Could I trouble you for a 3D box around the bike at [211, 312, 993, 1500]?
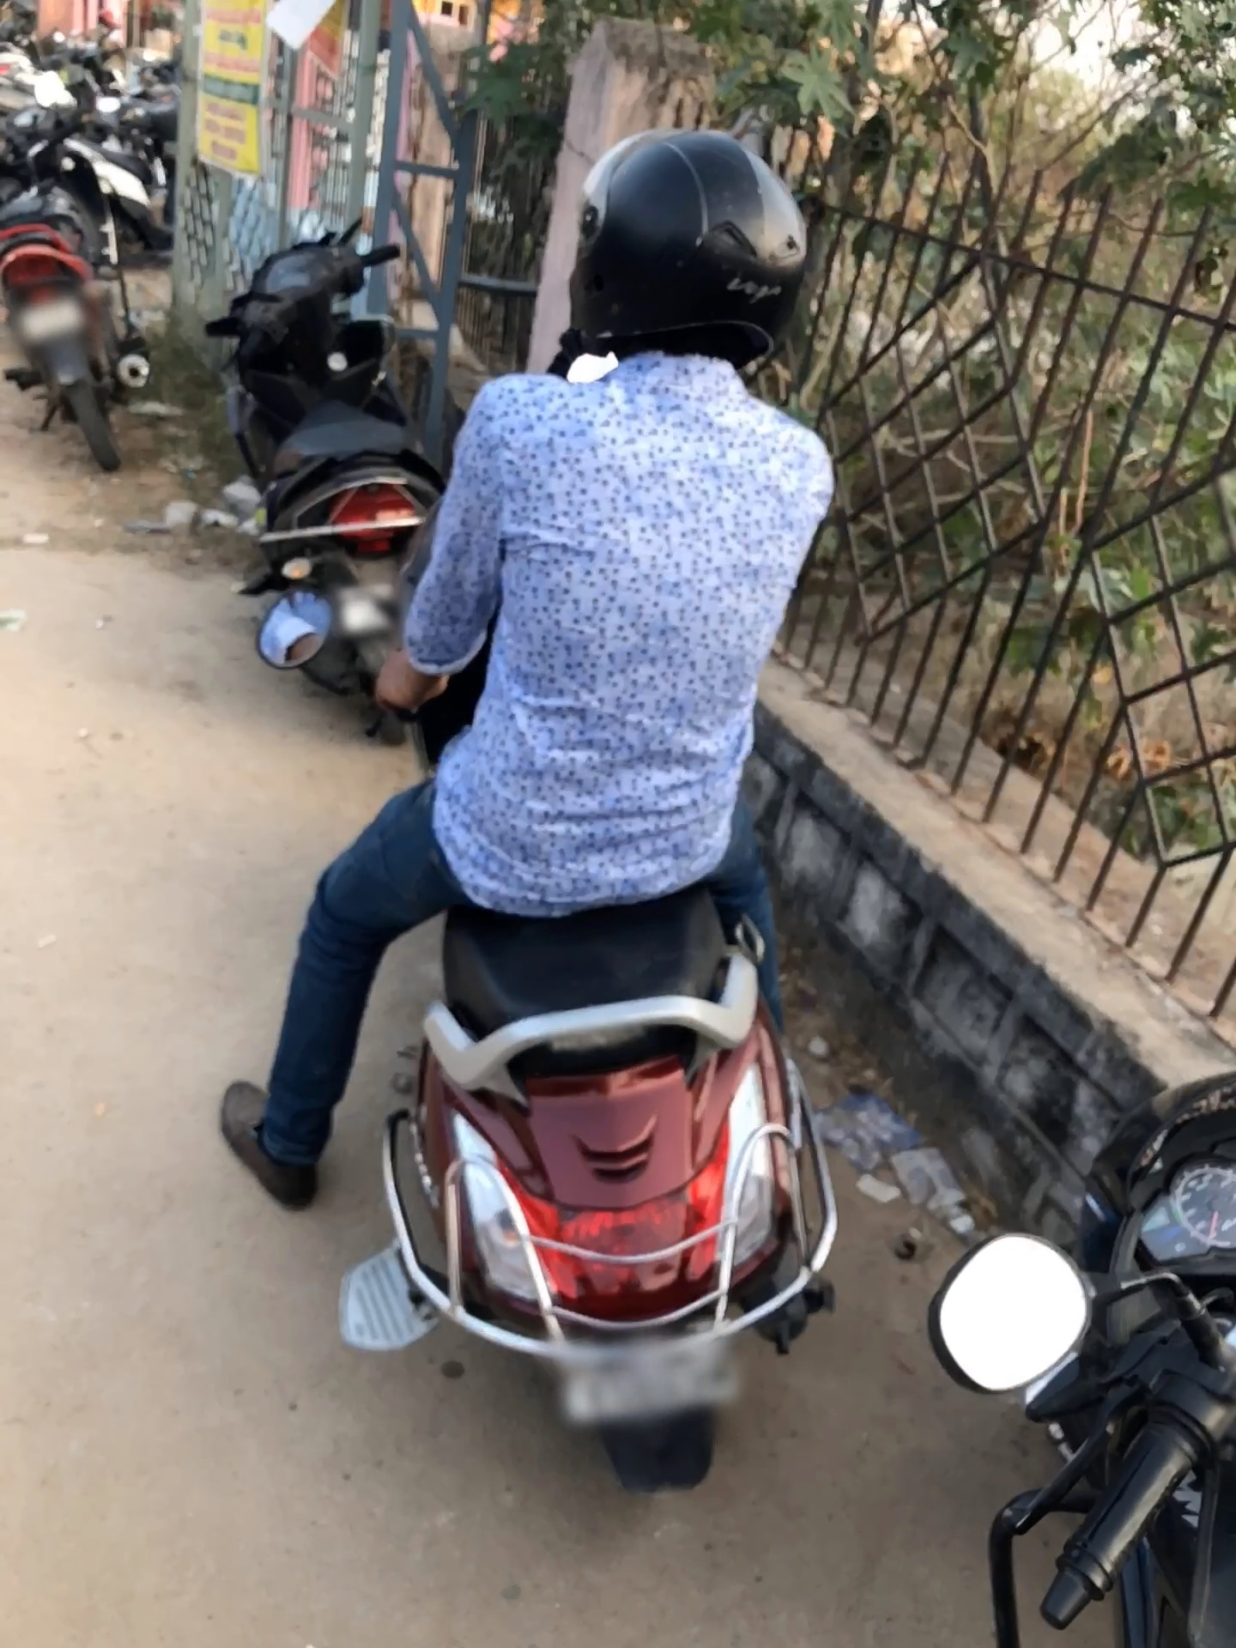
[{"bbox_3d":[-0.237,-0.025,2.003,0.577,0.963,1.495,2,31,-19],"label":"bike"}]
